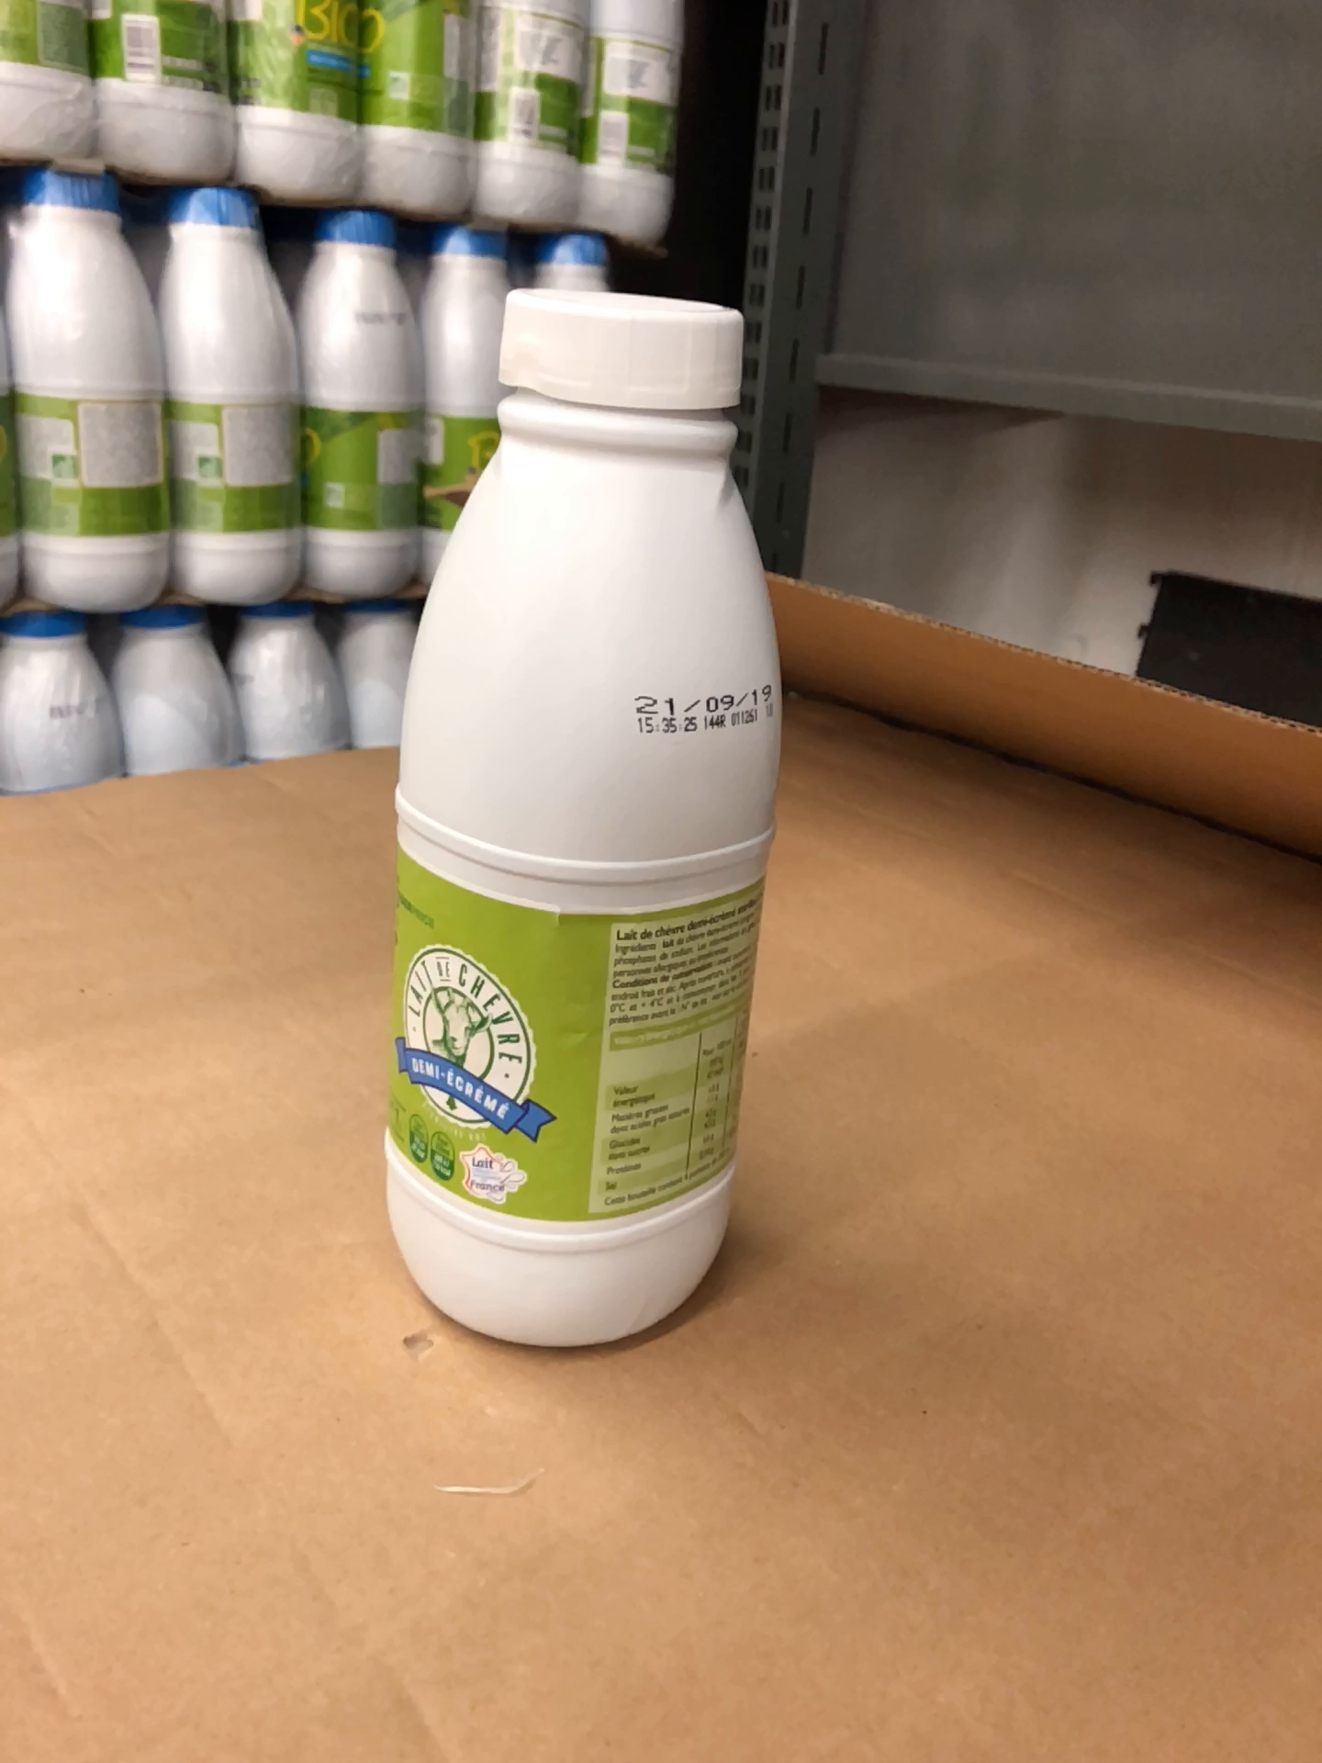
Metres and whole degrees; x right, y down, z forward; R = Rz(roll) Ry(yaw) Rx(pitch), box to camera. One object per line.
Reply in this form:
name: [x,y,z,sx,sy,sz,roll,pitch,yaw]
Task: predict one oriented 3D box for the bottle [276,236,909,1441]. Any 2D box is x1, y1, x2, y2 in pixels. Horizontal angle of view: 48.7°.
bottle: [-0.022,-0.014,0.335,0.100,0.239,0.080,20,26,38]
